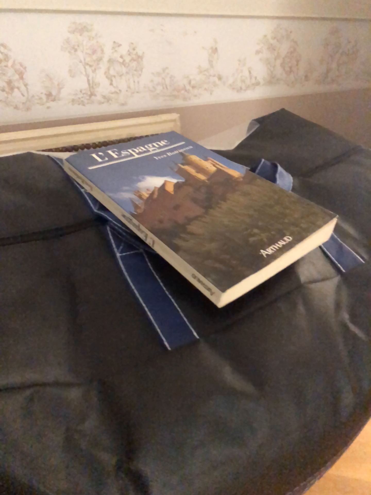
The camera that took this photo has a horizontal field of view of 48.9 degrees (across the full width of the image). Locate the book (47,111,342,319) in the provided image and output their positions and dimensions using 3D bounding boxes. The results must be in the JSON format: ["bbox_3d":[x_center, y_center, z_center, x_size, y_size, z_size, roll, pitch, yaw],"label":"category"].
[{"bbox_3d":[0.002,-0.058,0.415,0.171,0.030,0.250,-28,53,-33],"label":"book"}]
